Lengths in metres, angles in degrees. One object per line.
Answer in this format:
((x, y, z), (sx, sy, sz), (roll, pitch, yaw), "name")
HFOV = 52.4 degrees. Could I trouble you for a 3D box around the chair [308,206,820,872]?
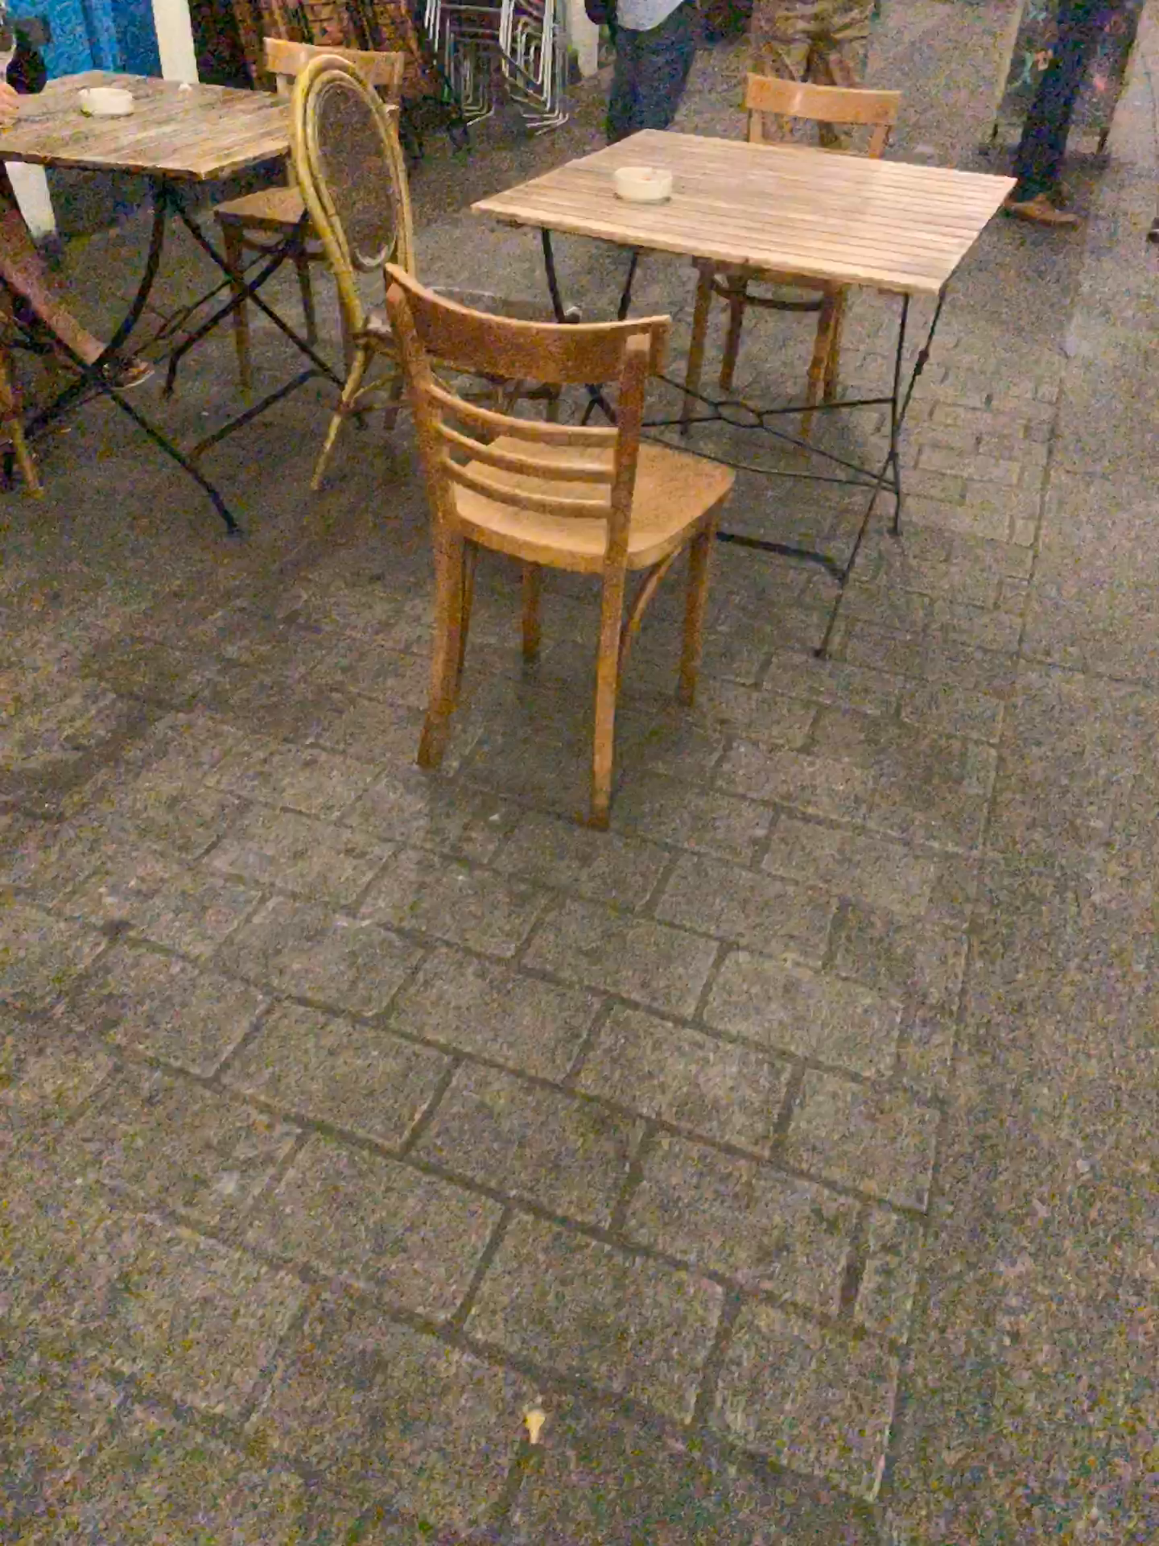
((-0.005, -0.372, 1.818), (0.511, 0.762, 0.545), (16, 40, 18), "chair")
